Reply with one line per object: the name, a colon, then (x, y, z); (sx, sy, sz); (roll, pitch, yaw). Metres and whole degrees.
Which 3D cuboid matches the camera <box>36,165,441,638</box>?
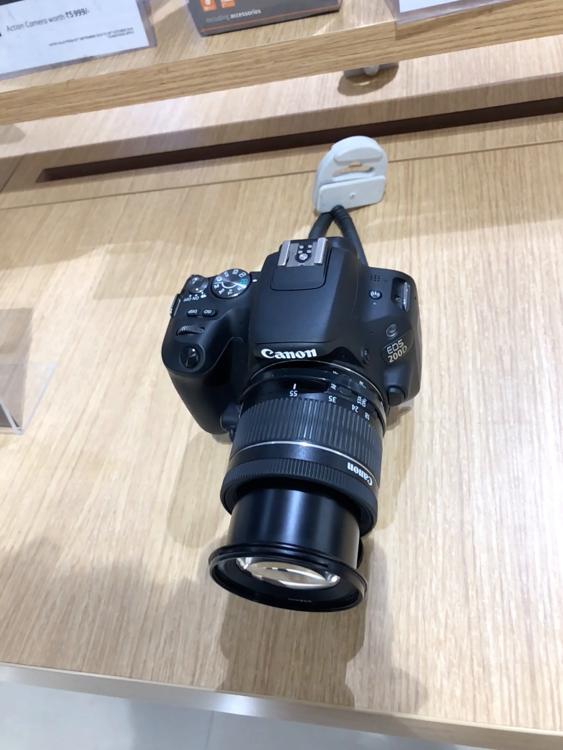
camera: (0.004, 0.008, 0.266); (0.120, 0.099, 0.161); (-1, 52, 16)
